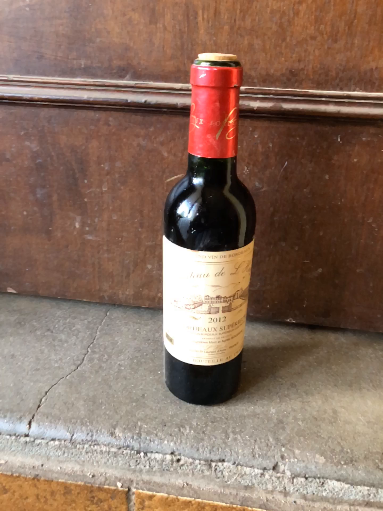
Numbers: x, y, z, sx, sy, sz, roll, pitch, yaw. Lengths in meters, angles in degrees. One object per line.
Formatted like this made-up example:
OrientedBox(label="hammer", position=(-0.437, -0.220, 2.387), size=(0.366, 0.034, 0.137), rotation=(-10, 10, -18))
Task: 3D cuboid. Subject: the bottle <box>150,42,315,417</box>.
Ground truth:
OrientedBox(label="bottle", position=(0.017, -0.010, 0.287), size=(0.070, 0.239, 0.060), rotation=(-10, 30, -23))
